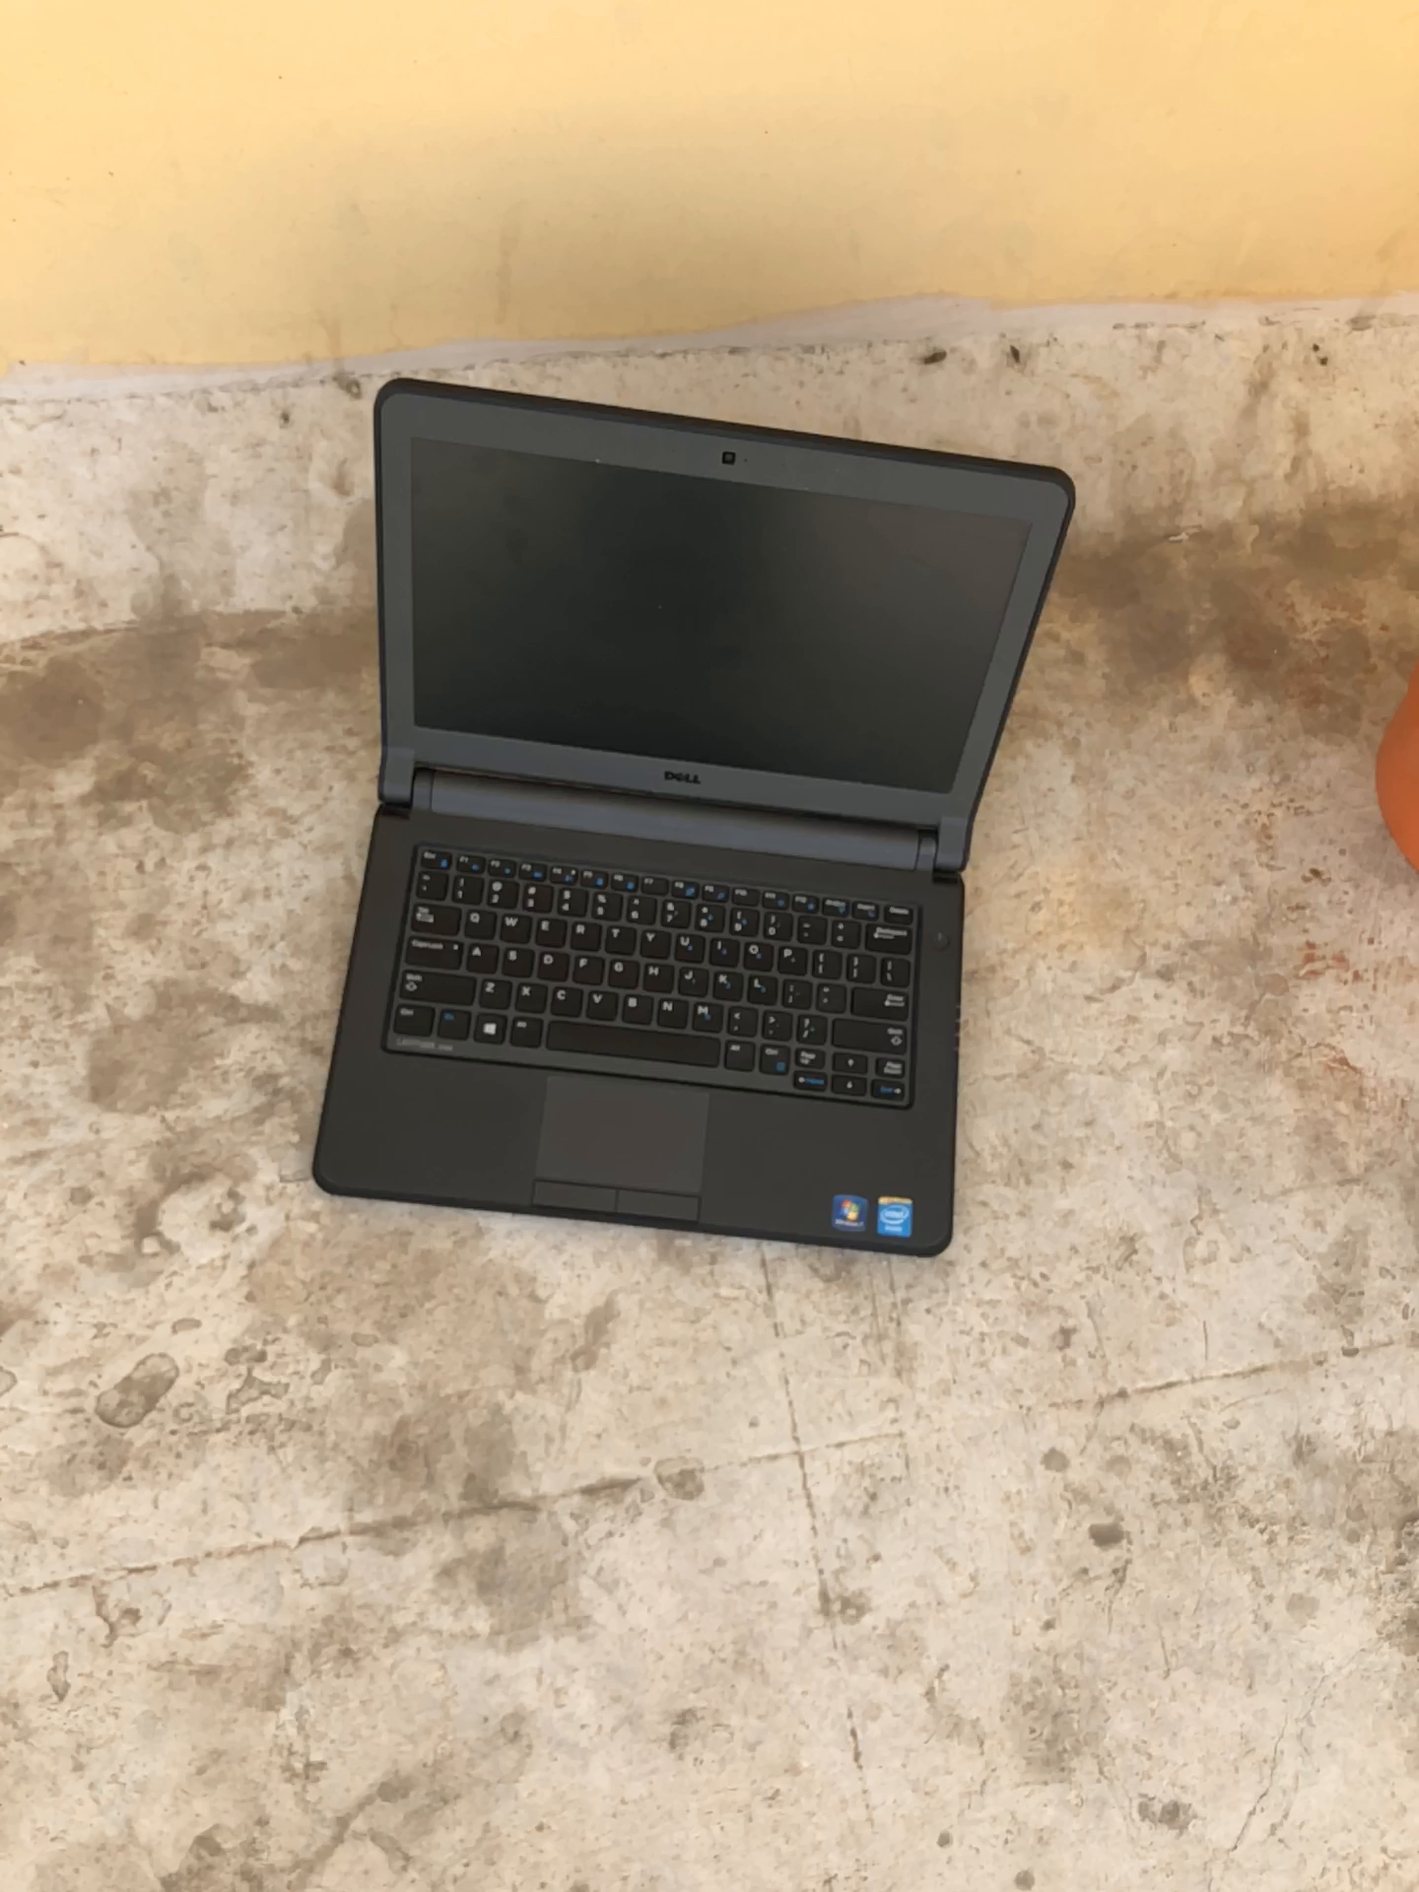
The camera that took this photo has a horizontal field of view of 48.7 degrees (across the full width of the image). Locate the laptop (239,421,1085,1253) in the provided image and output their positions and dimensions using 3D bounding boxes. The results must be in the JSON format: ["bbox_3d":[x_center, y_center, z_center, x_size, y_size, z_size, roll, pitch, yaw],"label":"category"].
[{"bbox_3d":[-0.012,-0.040,0.727,0.308,0.209,0.299,6,66,-3],"label":"laptop"}]
